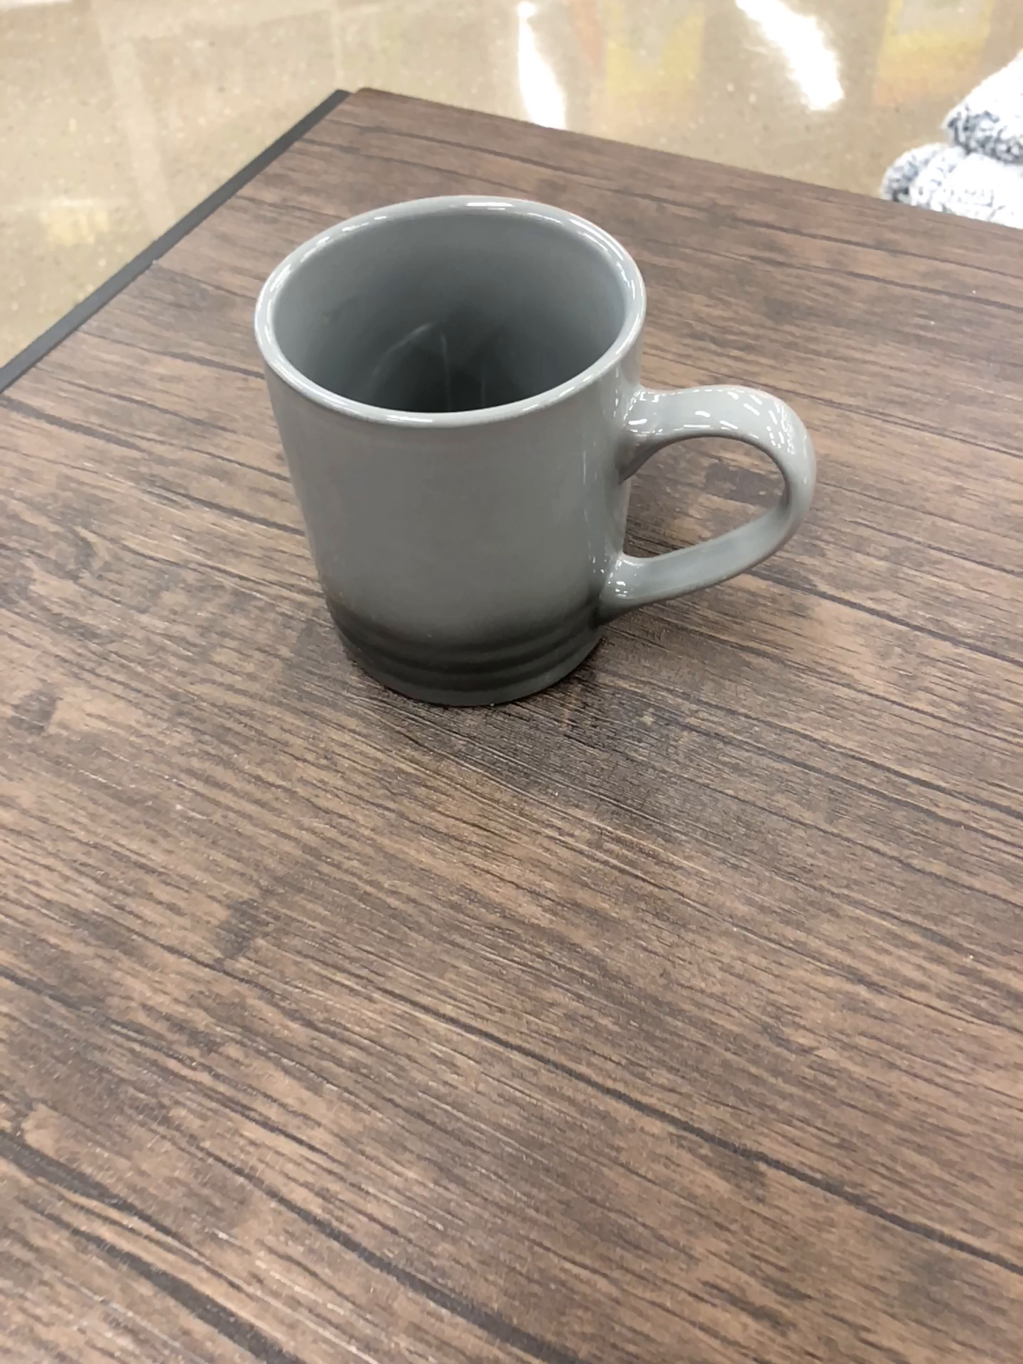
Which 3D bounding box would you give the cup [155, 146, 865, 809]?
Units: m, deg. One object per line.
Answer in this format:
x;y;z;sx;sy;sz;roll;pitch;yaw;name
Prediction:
0.005;-0.050;0.286;0.130;0.110;0.090;13;53;11;cup
